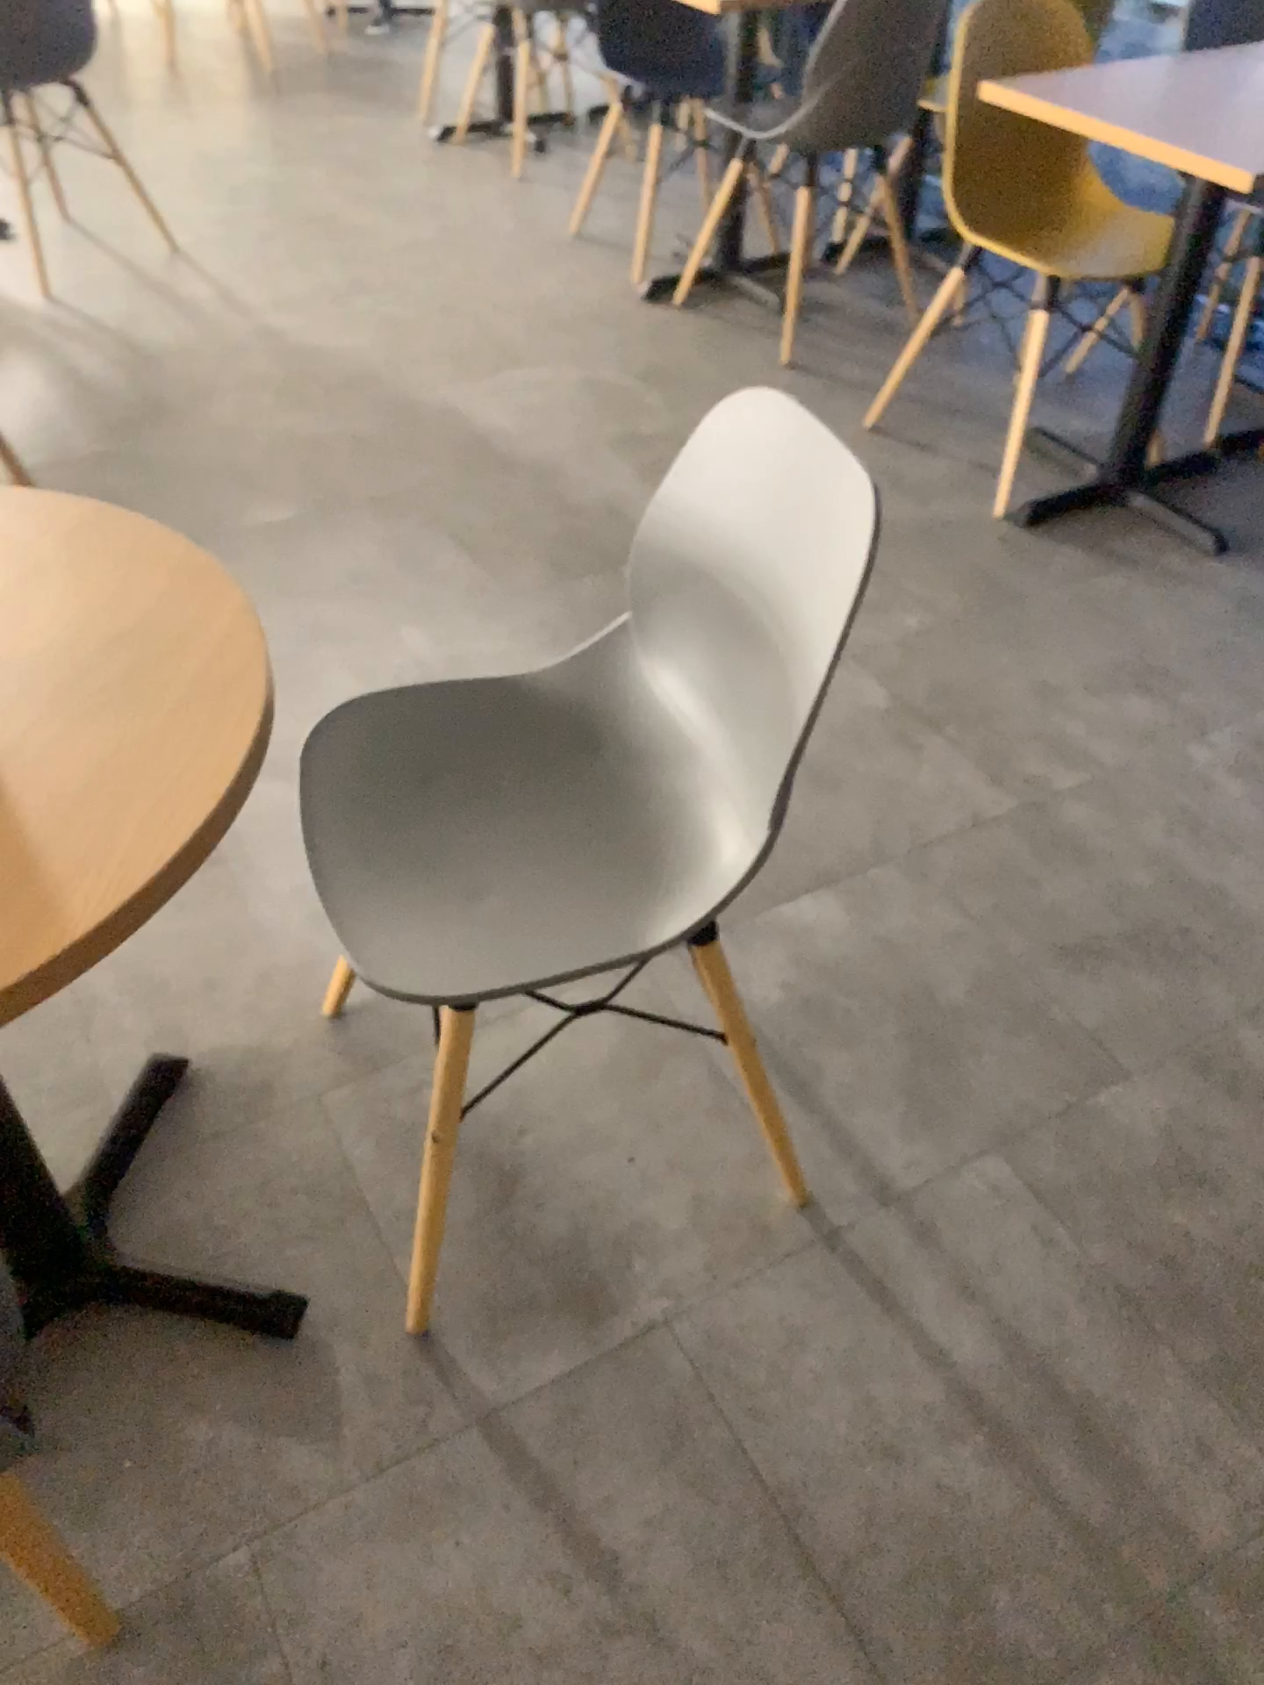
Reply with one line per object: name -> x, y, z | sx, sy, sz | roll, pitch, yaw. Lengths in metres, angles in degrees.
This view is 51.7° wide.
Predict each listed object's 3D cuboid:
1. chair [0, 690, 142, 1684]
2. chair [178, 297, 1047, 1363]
chair -> -0.783, 0.431, 0.859 | 0.558, 0.752, 0.512 | 35, 52, 31
chair -> -0.058, -0.003, 1.269 | 0.521, 0.802, 0.509 | -14, 45, -17
